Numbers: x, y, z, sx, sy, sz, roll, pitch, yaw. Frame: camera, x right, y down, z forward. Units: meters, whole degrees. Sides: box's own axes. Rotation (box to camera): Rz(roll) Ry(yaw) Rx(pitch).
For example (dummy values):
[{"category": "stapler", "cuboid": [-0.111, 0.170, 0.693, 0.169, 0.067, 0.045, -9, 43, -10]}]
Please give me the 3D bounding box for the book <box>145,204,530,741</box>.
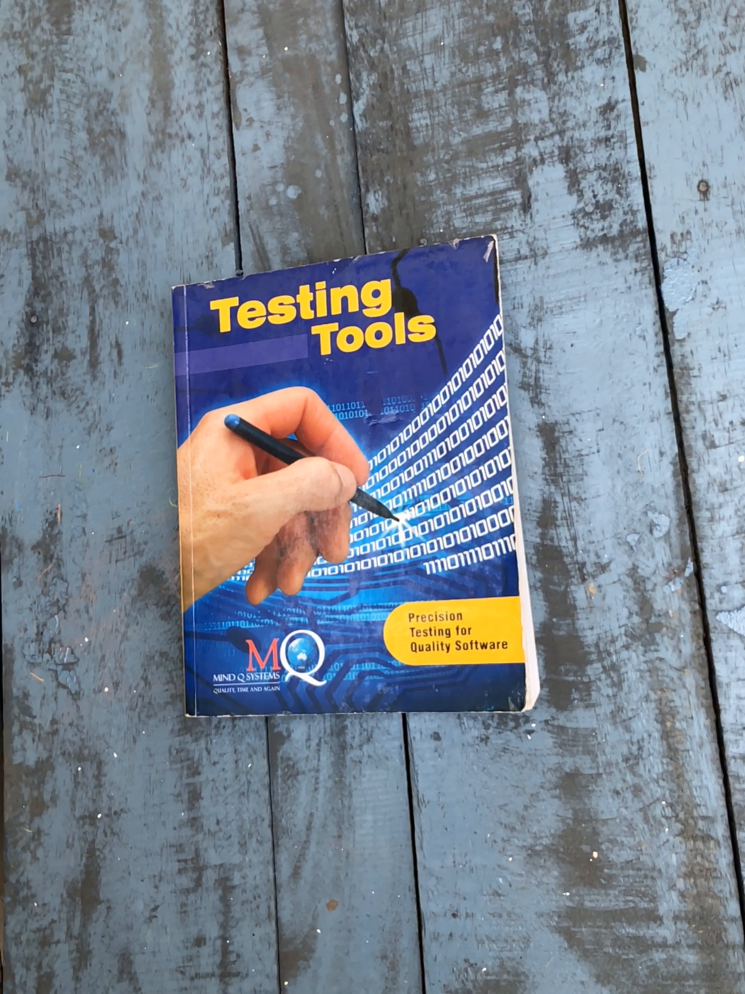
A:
[{"category": "book", "cuboid": [-0.025, -0.008, 0.449, 0.190, 0.050, 0.260, -6, 80, 16]}]
